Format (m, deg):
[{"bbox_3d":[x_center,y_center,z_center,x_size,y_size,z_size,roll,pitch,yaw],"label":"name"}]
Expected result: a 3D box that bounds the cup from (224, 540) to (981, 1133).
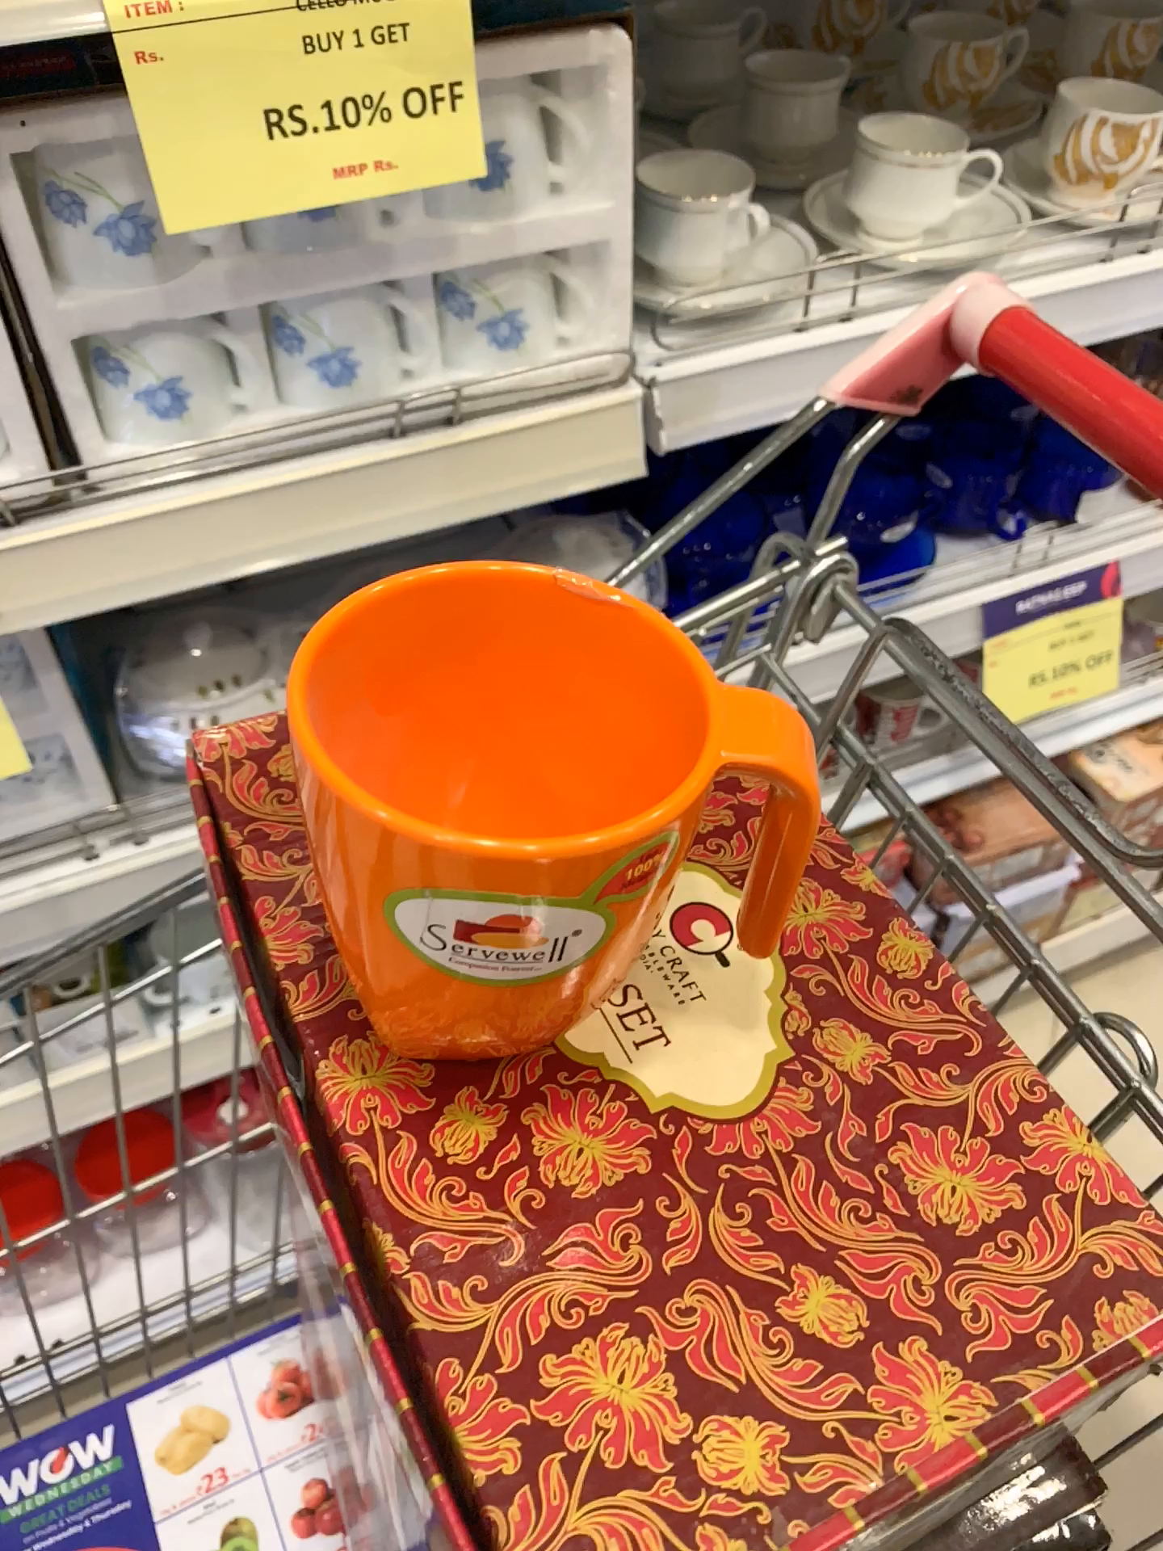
[{"bbox_3d":[0.000,0.012,0.226,0.110,0.070,0.080,3,47,-6],"label":"cup"}]
